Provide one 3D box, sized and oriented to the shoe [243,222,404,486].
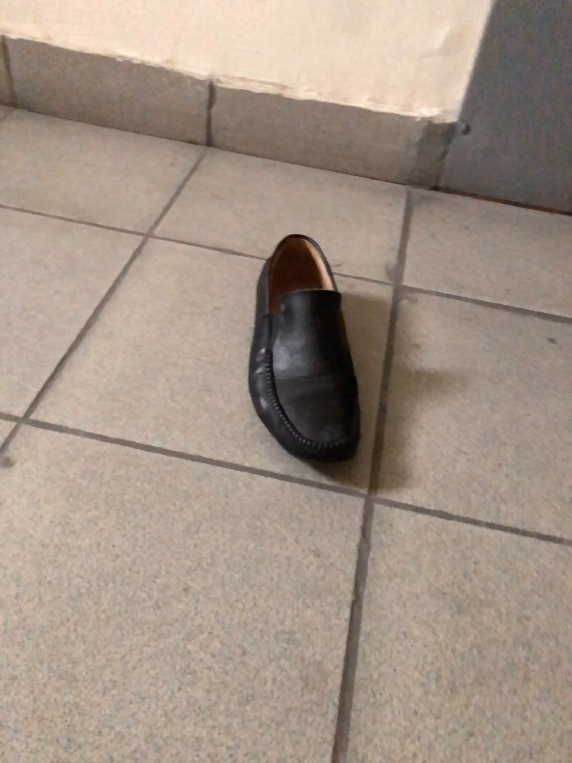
[{"bbox_3d":[0.020,-0.039,0.585,0.107,0.079,0.272,0,46,-7],"label":"shoe"}]
